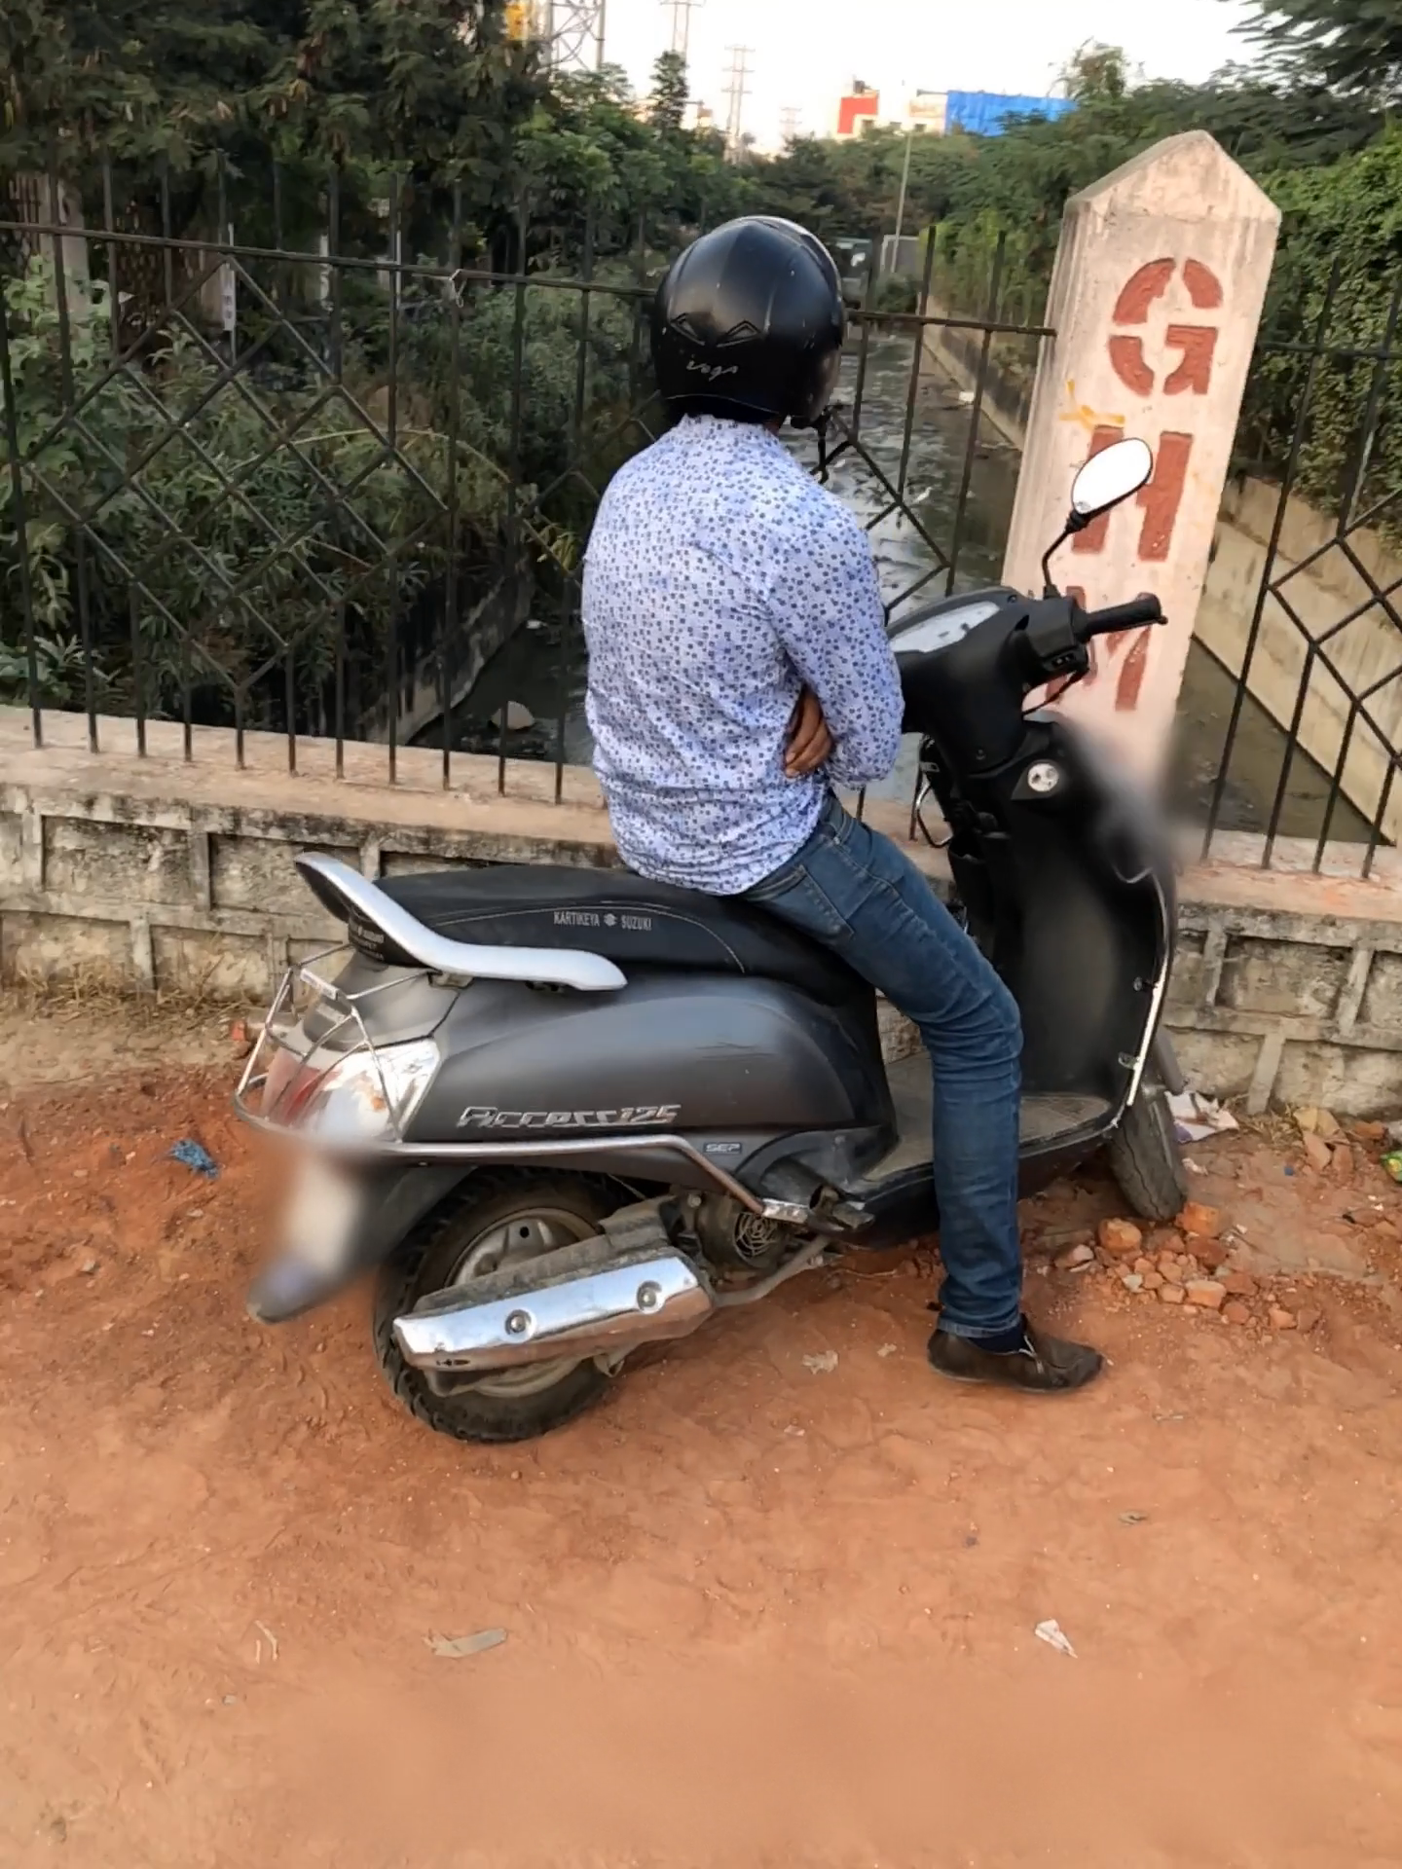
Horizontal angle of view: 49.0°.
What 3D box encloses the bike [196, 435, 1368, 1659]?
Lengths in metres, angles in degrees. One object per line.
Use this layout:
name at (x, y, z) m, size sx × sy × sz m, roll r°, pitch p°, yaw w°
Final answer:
bike at (0.155, -0.022, 2.439) m, size 1.583 × 1.216 × 0.799 m, roll -21°, pitch 34°, yaw -39°
